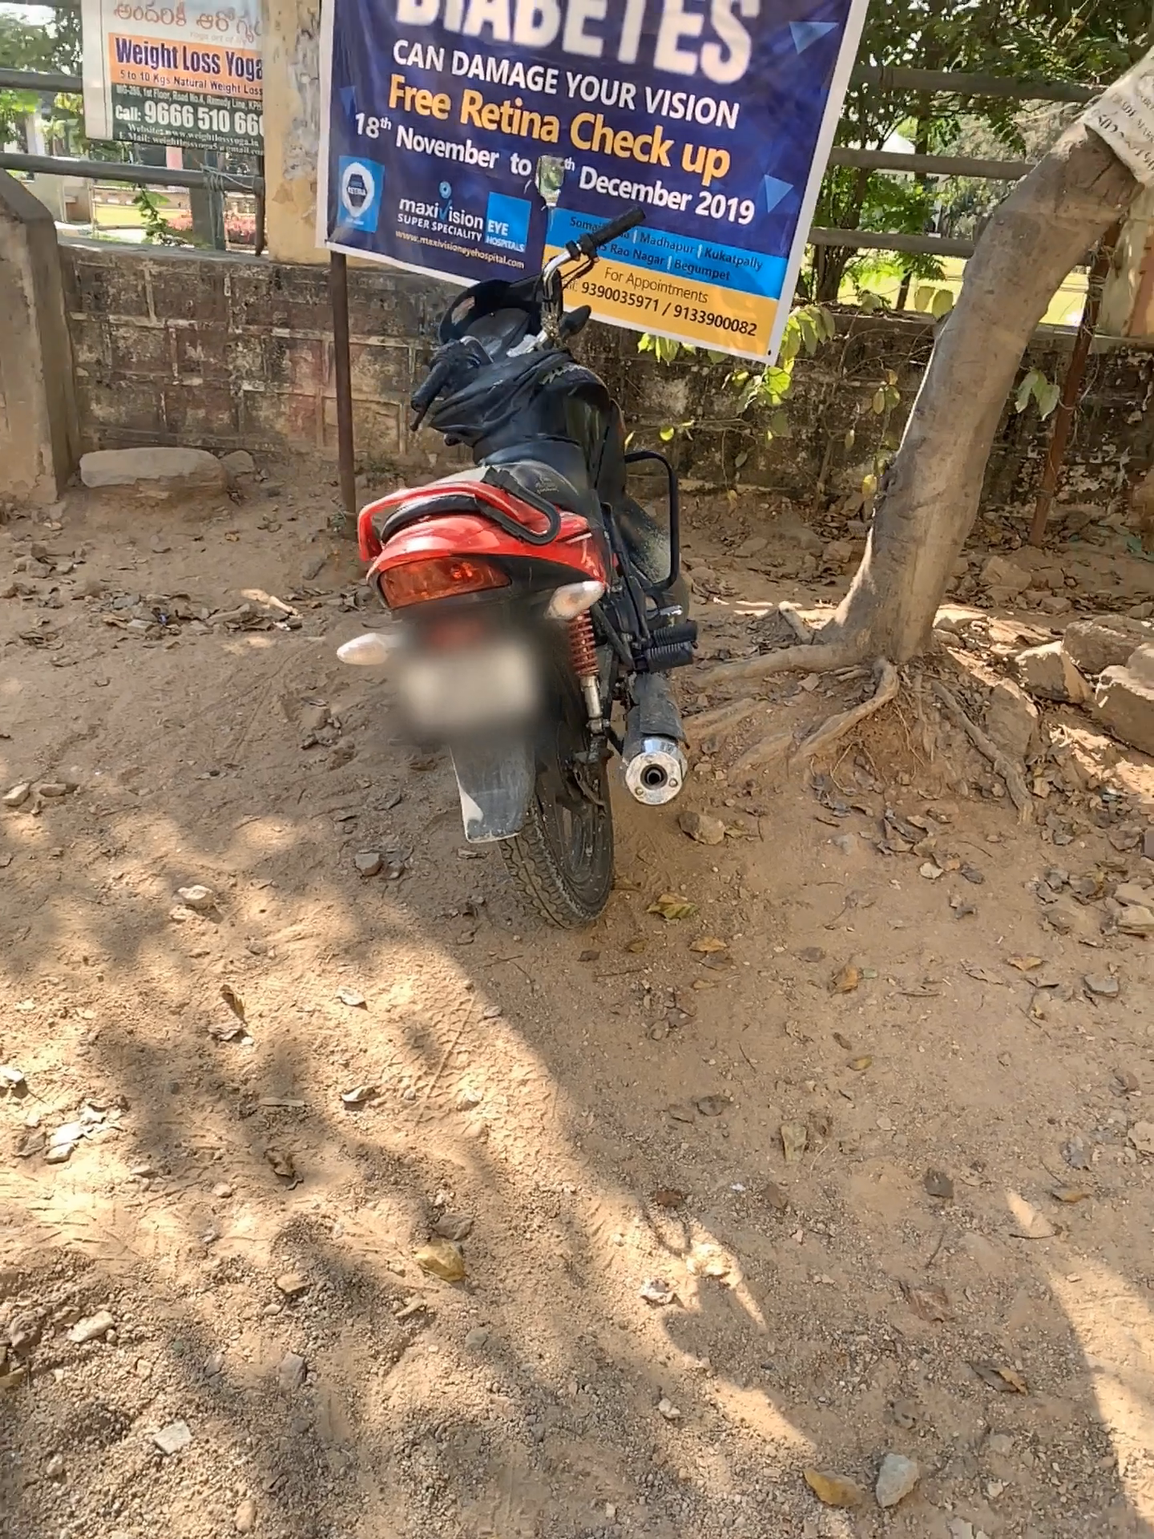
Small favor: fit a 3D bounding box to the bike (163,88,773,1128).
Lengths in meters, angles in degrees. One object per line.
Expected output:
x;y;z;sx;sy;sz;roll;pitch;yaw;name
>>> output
-0.225;-0.501;2.434;0.751;1.442;1.623;3;29;-4;bike
